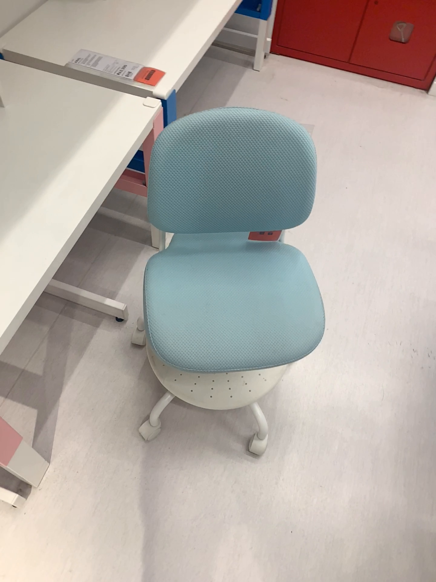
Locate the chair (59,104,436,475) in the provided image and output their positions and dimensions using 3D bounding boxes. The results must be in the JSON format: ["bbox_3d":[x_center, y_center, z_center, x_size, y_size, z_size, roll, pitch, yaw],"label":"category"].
[{"bbox_3d":[0.009,0.031,1.102,0.580,0.678,0.611,-4,57,-6],"label":"chair"}]
